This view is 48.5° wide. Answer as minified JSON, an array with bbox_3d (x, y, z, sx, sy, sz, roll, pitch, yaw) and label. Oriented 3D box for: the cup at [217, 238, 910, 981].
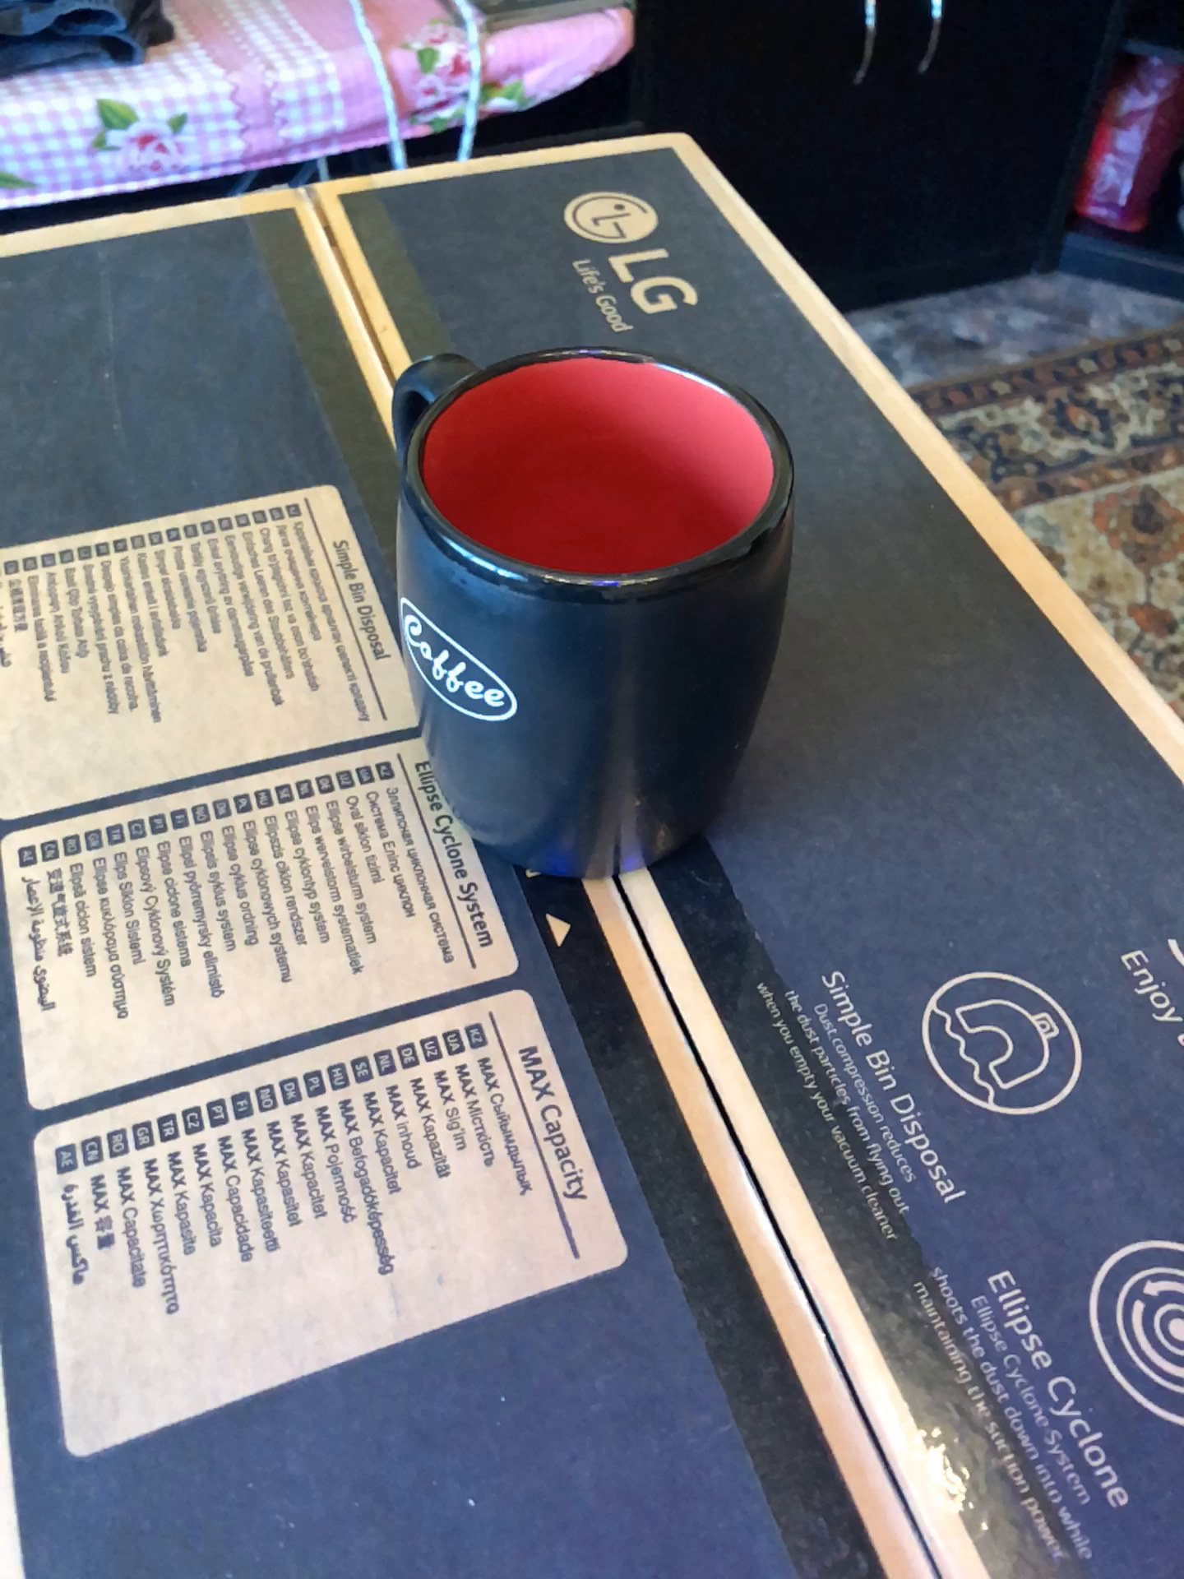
[{"bbox_3d":[-0.010,-0.044,0.302,0.090,0.090,0.120,-27,57,-20],"label":"cup"}]
